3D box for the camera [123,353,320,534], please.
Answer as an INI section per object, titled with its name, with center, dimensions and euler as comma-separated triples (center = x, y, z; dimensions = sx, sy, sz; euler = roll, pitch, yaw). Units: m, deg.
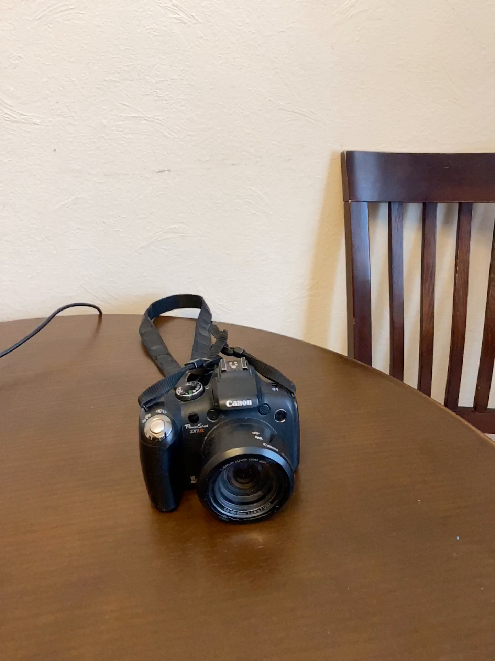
[camera]
center = -0.018, 0.078, 0.370
dimensions = 0.123, 0.088, 0.082
euler = -3, 25, -4
